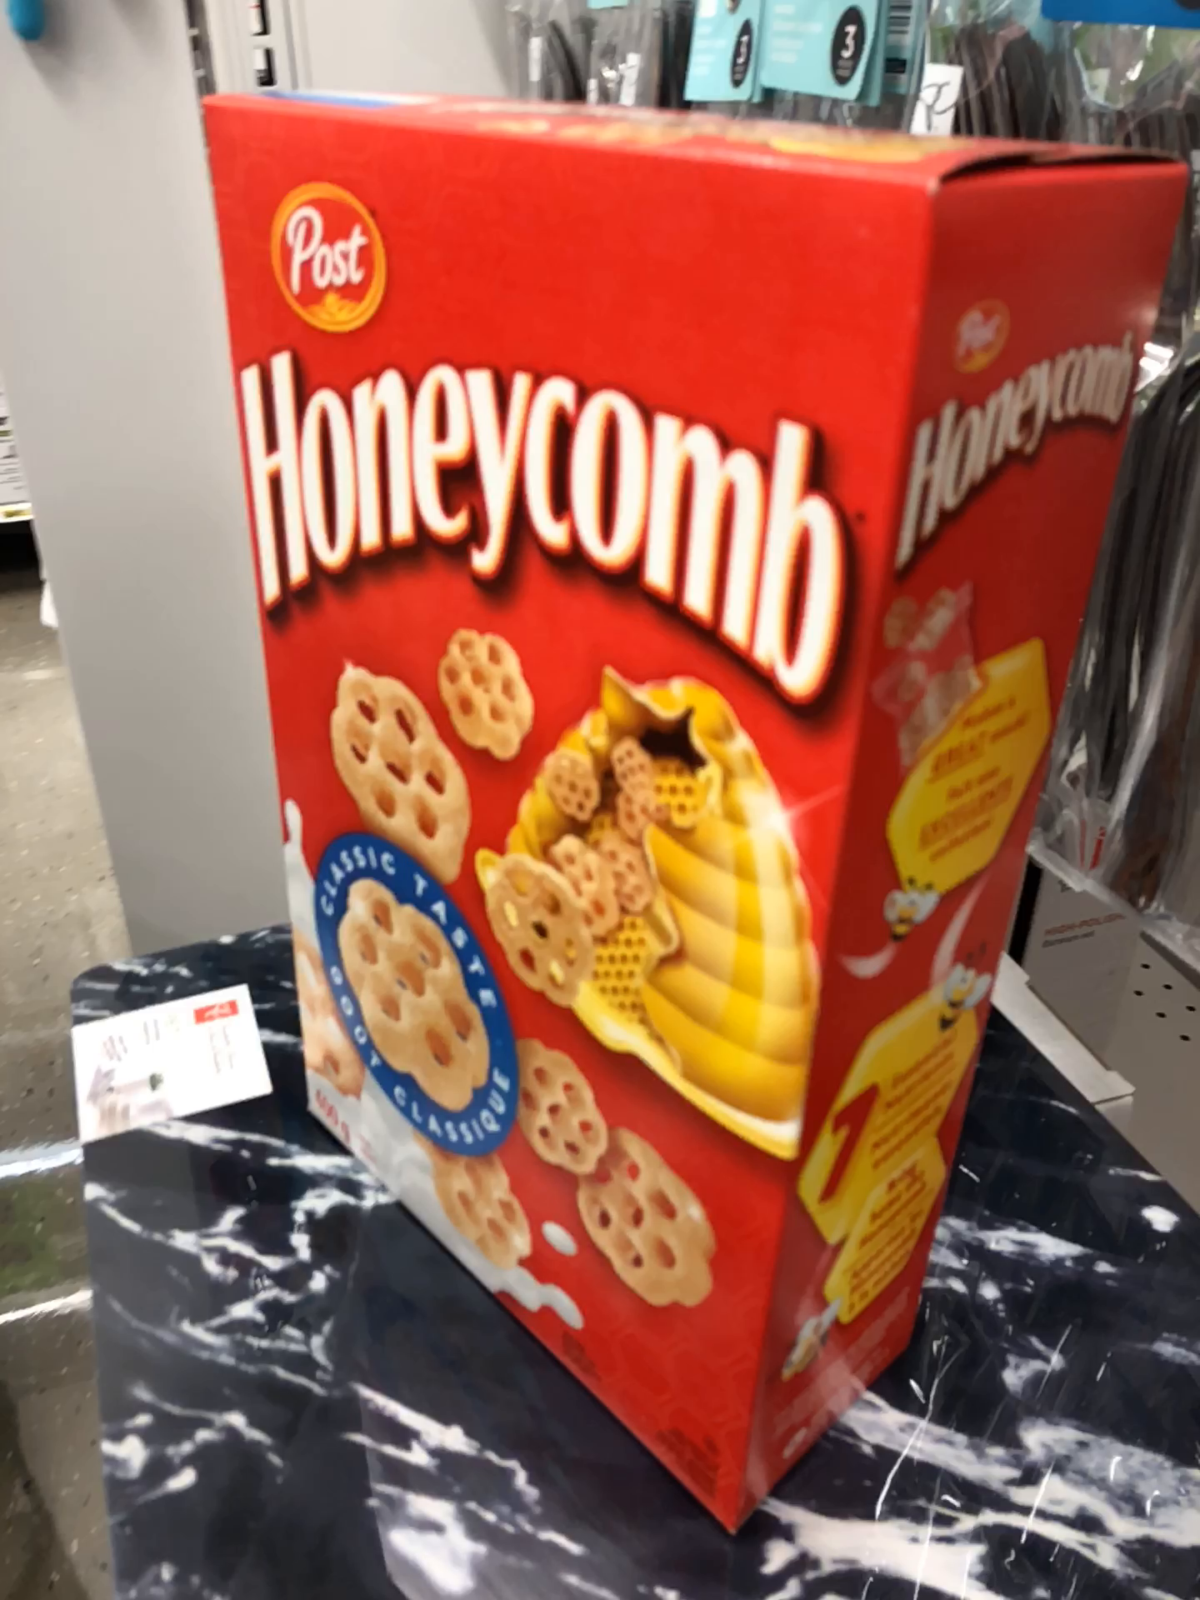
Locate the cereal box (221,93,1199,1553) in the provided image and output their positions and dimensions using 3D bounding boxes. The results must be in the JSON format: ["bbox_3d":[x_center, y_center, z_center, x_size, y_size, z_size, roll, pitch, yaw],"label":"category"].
[{"bbox_3d":[0.002,-0.003,0.330,0.070,0.299,0.211,-21,37,-37],"label":"cereal box"}]
